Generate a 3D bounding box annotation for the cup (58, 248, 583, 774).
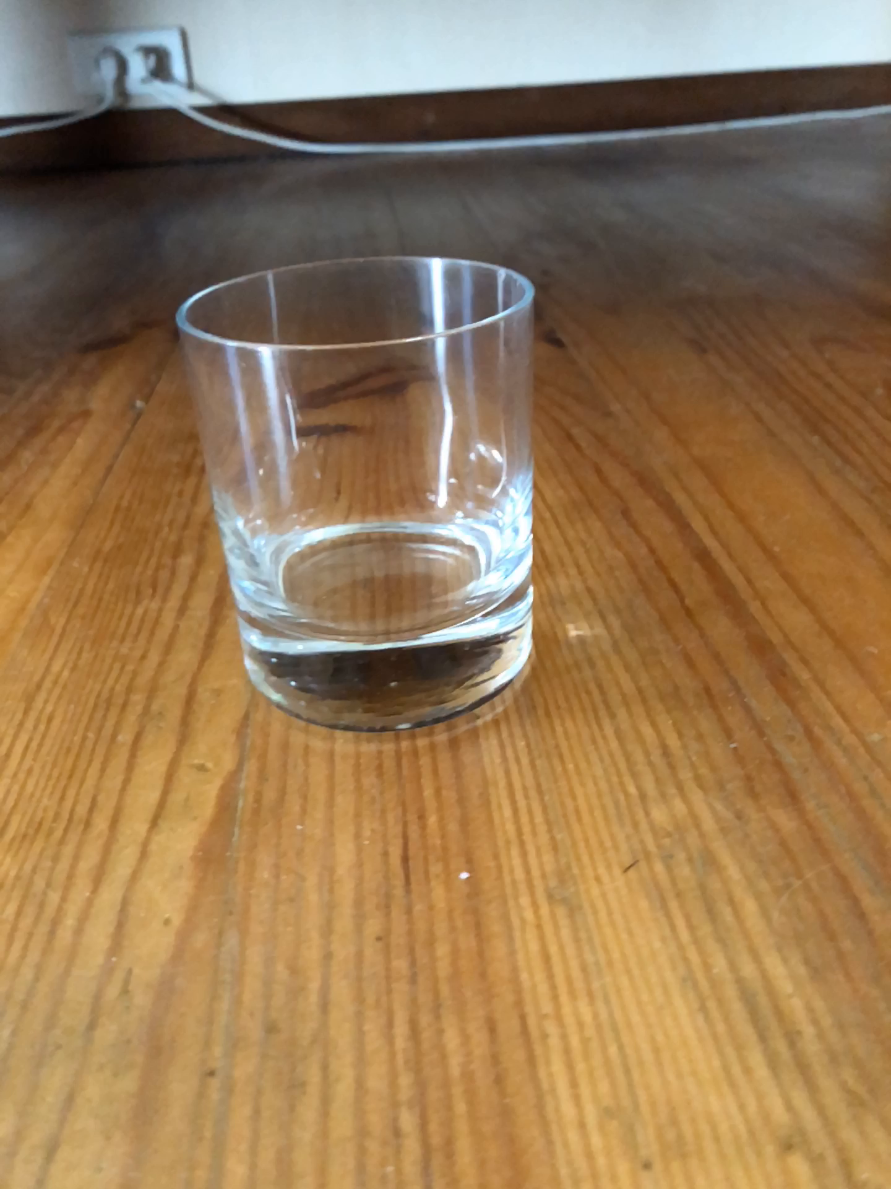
[{"bbox_3d":[-0.022,-0.028,0.245,0.082,0.090,0.087,-2,29,1],"label":"cup"}]
